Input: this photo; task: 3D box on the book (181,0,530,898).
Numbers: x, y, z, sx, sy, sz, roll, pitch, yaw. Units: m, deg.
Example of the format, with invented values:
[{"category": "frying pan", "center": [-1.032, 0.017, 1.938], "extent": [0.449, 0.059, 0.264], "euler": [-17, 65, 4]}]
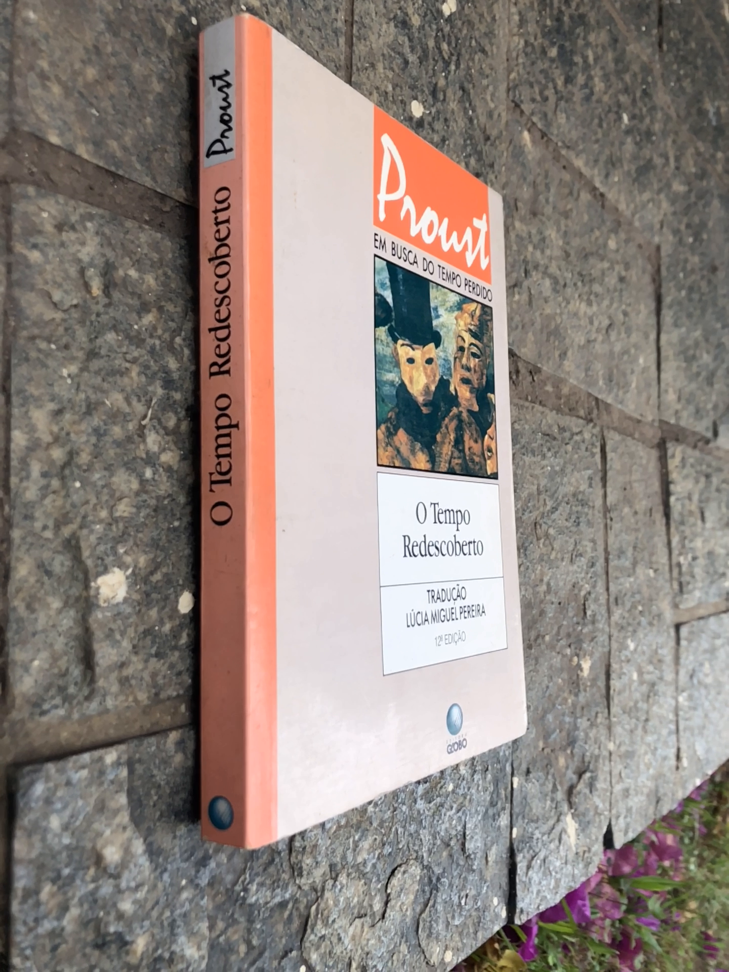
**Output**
[{"category": "book", "center": [0.006, -0.009, 0.239], "extent": [0.134, 0.023, 0.199], "euler": [5, 83, -54]}]
